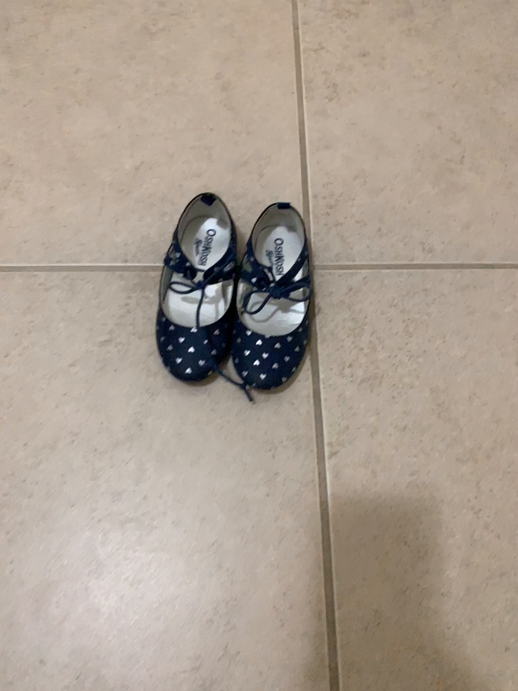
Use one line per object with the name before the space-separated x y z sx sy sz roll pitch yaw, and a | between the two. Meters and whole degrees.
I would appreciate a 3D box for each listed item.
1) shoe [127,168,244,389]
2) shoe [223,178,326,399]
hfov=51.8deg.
shoe | -0.055 -0.057 0.448 0.070 0.062 0.171 4 68 0
shoe | 0.014 -0.049 0.447 0.070 0.062 0.171 4 68 0
